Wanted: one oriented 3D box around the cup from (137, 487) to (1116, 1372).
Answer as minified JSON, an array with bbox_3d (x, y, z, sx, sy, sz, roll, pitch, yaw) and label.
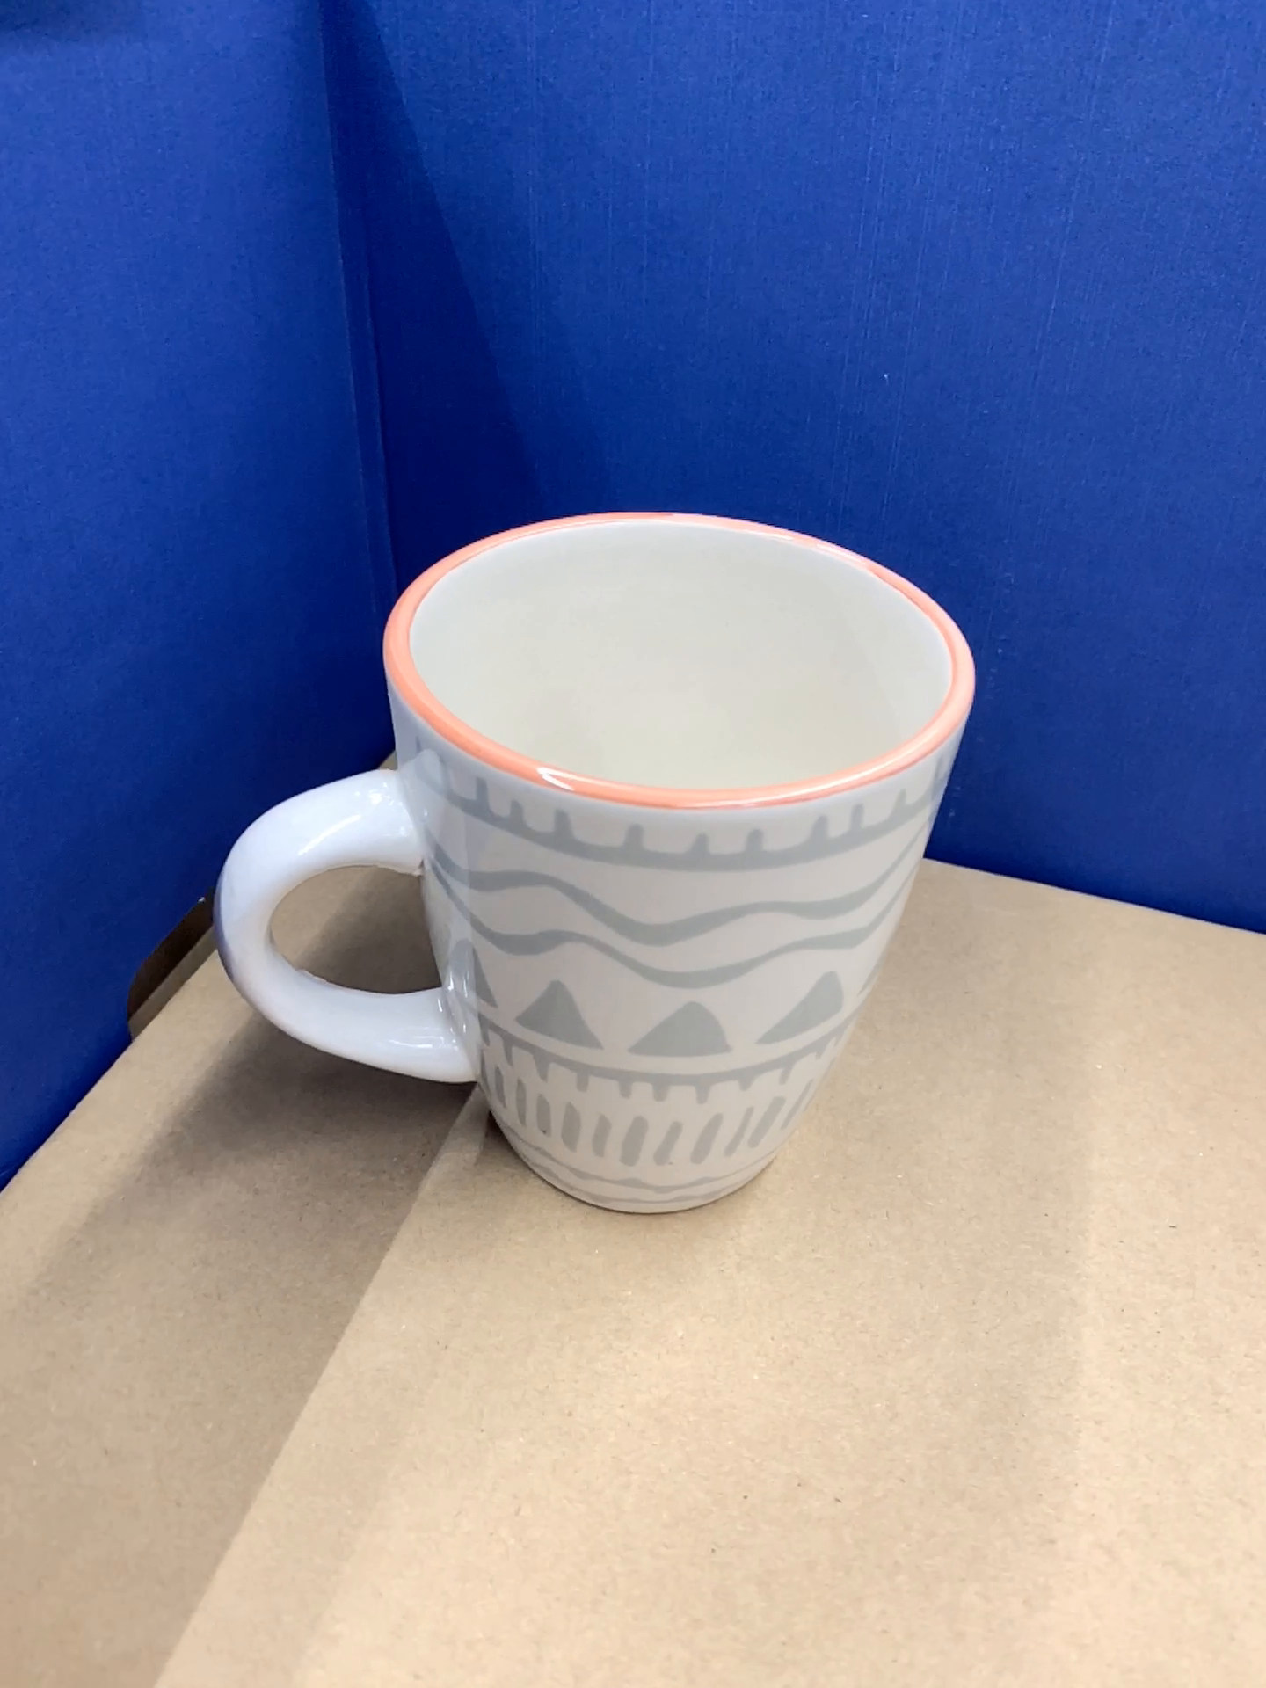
[{"bbox_3d":[-0.008,0.003,0.222,0.119,0.082,0.097,-14,38,-21],"label":"cup"}]
